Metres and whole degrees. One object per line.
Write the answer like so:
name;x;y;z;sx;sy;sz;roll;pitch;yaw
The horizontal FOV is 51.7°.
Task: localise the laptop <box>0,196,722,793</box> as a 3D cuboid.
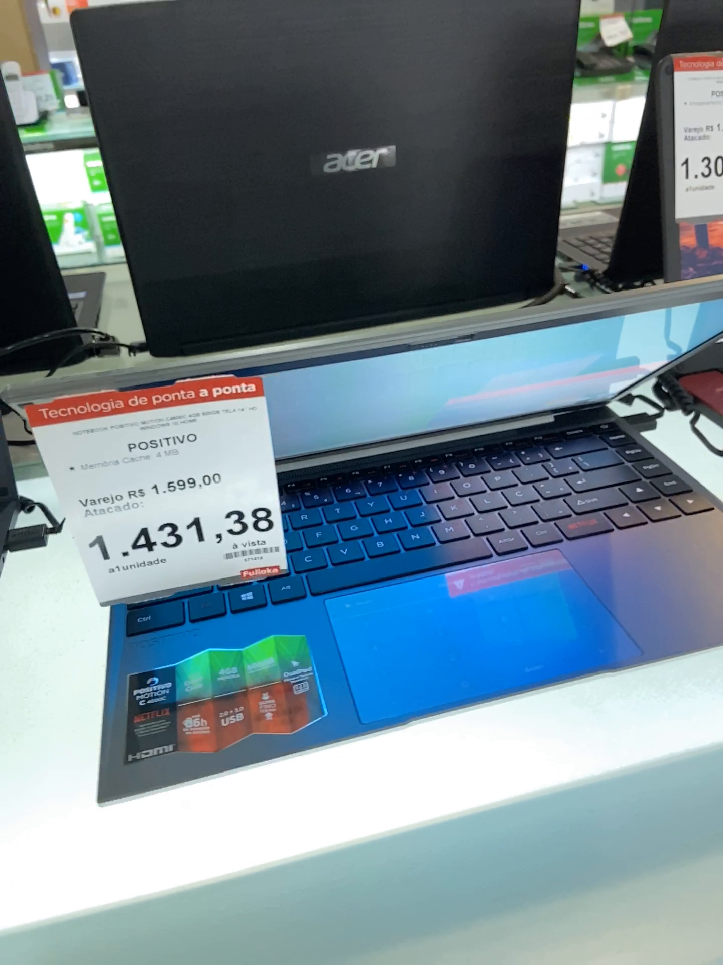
laptop;0.031;-0.026;0.360;0.327;0.139;0.212;-10;33;-10
